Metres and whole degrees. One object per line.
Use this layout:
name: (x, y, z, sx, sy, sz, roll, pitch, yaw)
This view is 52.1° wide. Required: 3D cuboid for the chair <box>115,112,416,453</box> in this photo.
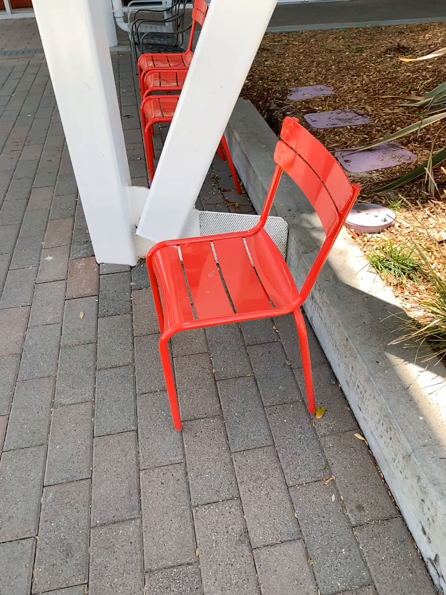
chair: (0.059, -0.050, 1.416, 0.630, 0.785, 0.584, -8, 41, -8)
